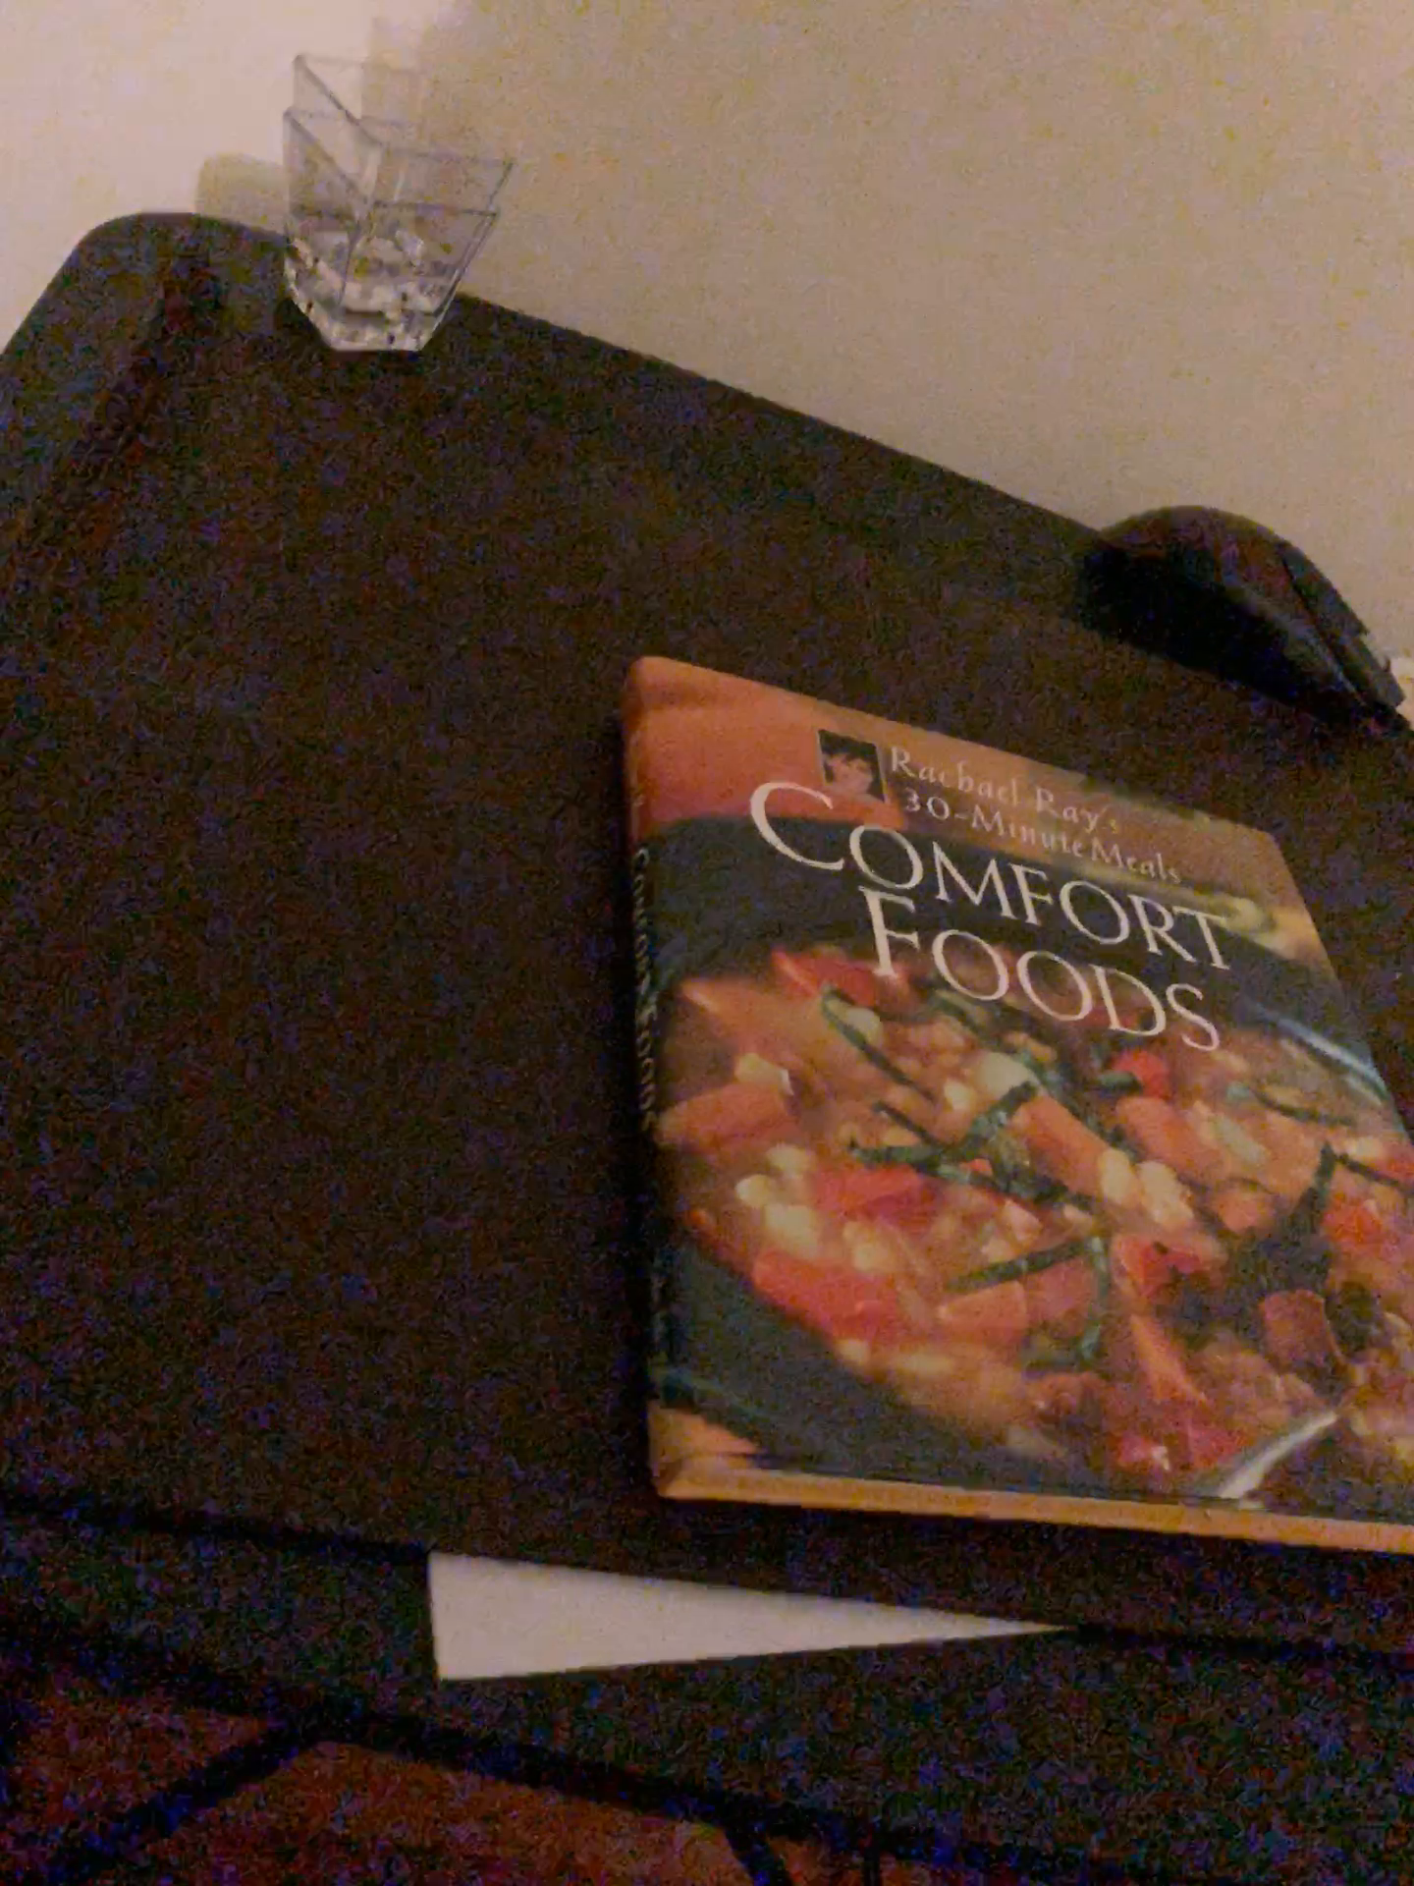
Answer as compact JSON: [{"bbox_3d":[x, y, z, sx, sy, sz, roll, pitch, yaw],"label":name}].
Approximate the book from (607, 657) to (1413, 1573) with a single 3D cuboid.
[{"bbox_3d":[0.078,0.031,0.332,0.200,0.020,0.201,12,46,-20],"label":"book"}]
